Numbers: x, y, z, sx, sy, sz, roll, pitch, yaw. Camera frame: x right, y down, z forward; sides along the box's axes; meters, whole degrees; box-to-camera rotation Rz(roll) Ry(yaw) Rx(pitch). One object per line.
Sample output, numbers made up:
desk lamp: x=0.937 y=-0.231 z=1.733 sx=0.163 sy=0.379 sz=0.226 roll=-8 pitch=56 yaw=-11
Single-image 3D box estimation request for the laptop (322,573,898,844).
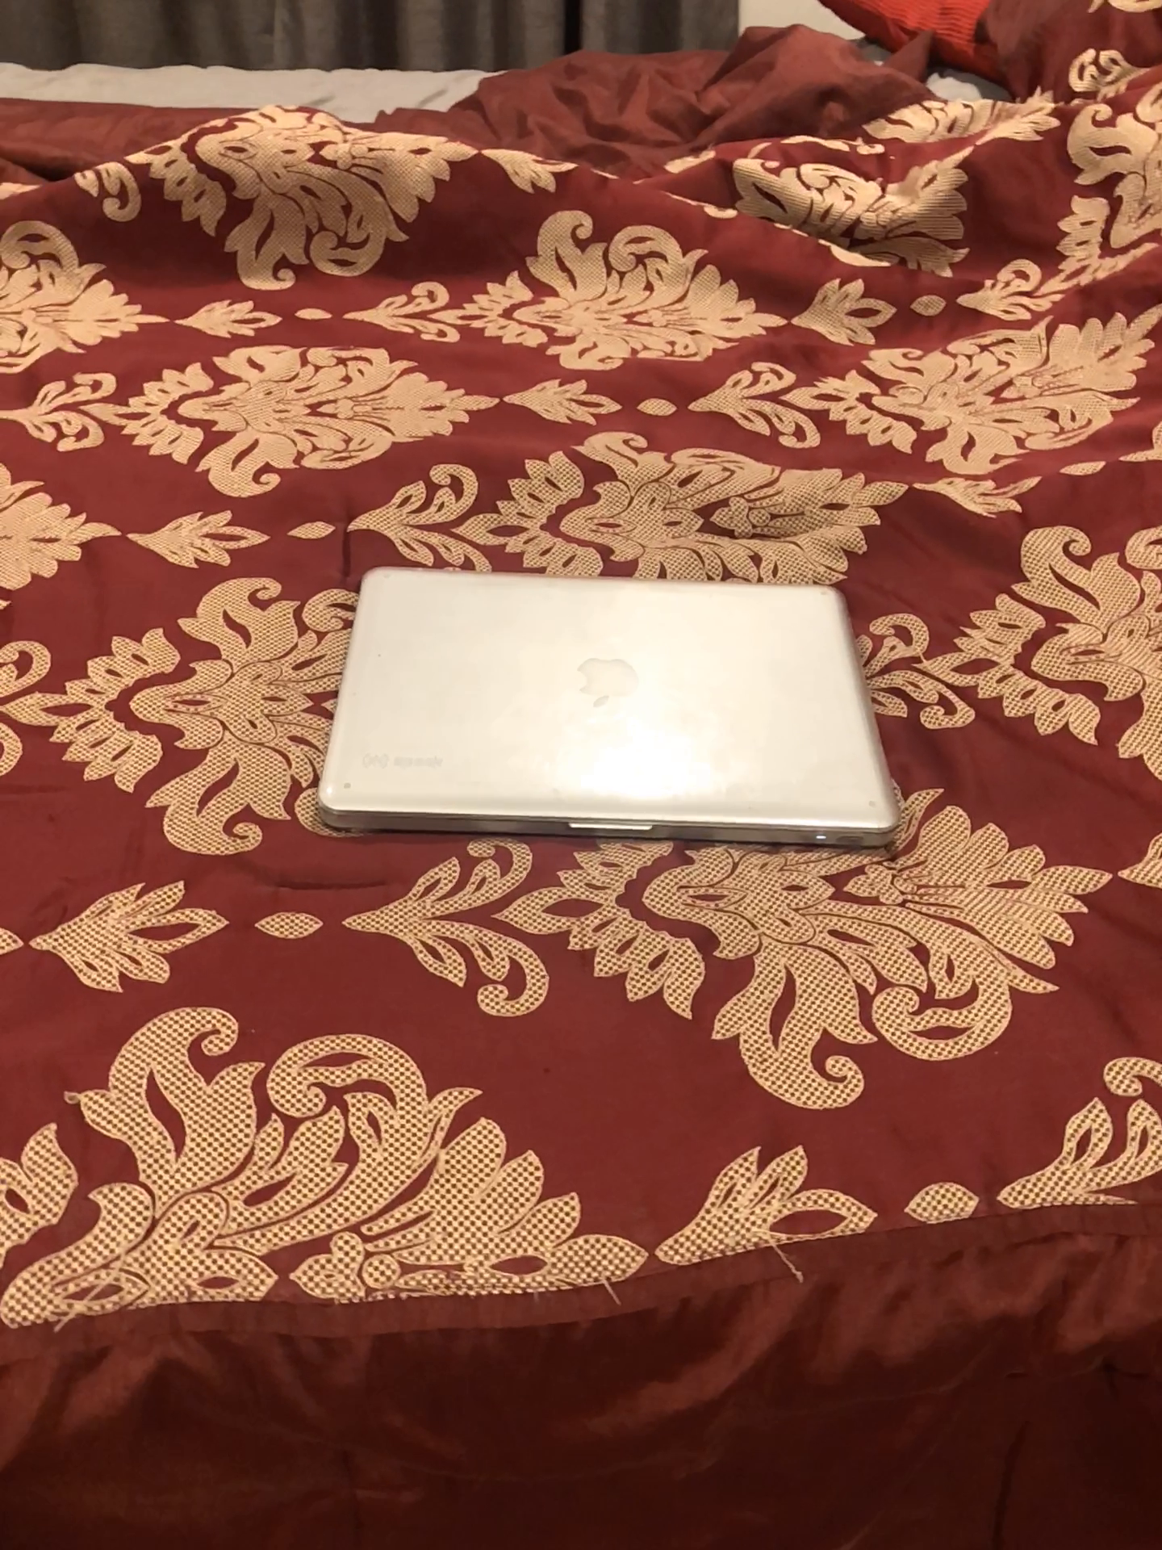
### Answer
laptop: x=0.015 y=-0.046 z=0.753 sx=0.304 sy=0.015 sz=0.208 roll=2 pitch=44 yaw=-1
